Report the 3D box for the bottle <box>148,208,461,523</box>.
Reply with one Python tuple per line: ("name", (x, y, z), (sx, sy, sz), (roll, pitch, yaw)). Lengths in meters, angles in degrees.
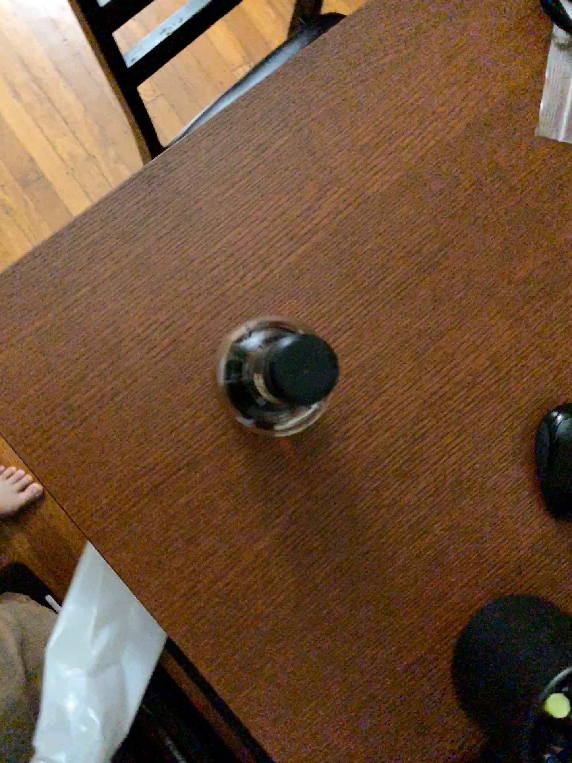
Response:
("bottle", (-0.006, -0.004, 0.380), (0.090, 0.290, 0.090), (0, 89, -6))
